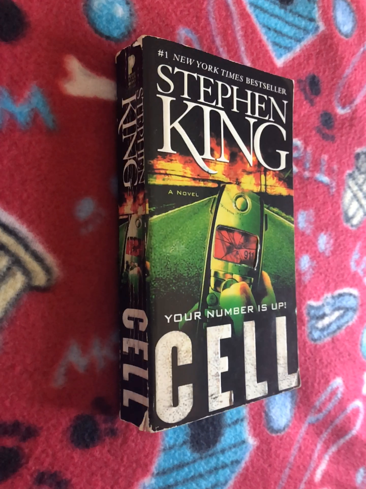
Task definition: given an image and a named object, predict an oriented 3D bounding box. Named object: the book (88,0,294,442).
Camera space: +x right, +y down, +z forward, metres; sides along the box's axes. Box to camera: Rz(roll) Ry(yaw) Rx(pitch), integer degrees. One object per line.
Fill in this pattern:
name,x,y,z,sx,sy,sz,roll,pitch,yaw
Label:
book,0.010,-0.013,0.230,0.121,0.030,0.200,1,87,-38
